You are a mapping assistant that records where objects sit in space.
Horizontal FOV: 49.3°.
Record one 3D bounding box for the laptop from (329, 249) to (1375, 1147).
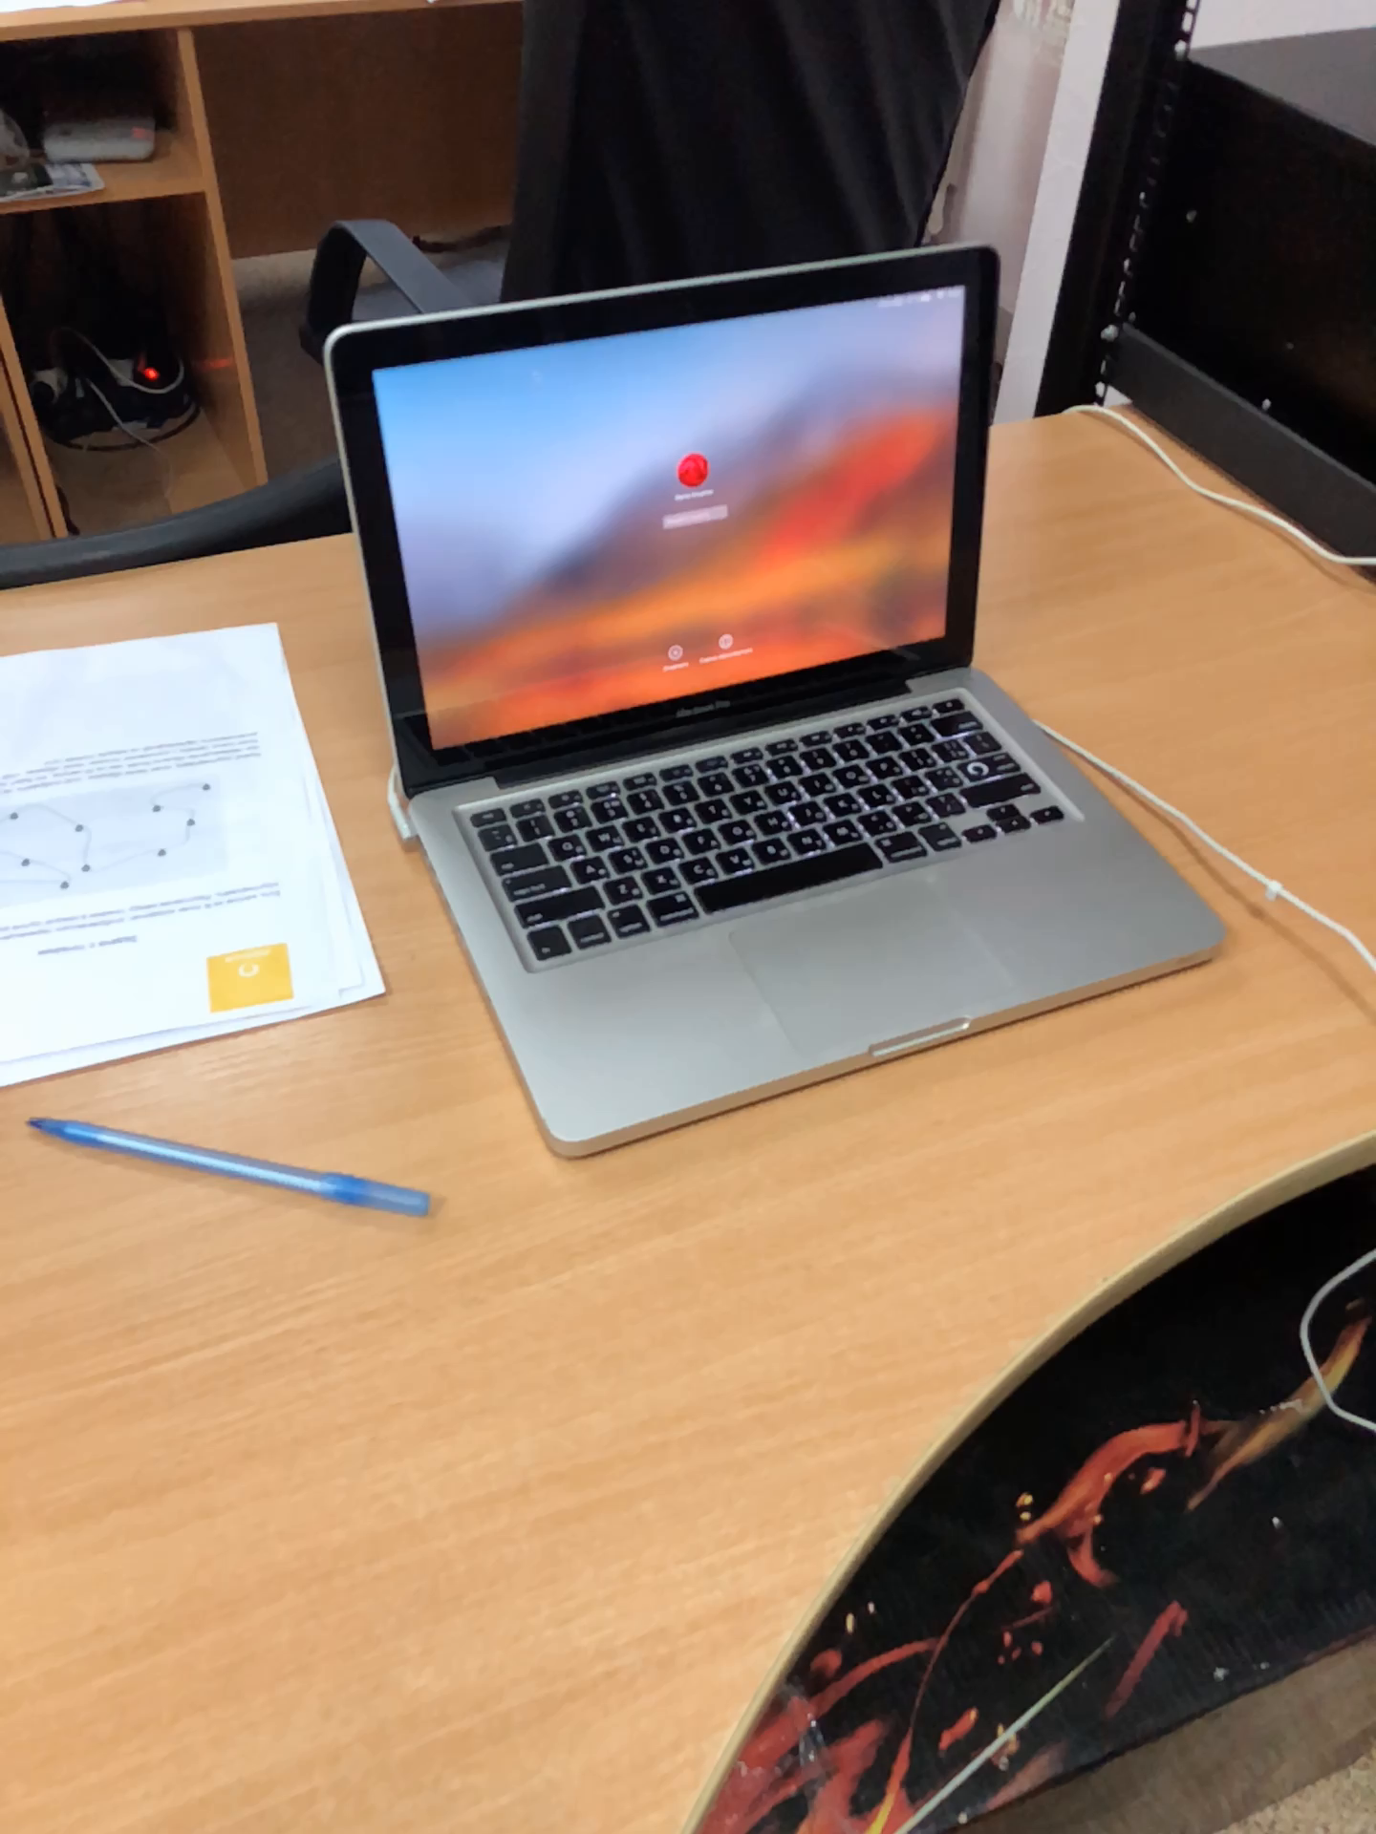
[{"bbox_3d":[0.047,-0.114,0.642,0.316,0.207,0.266,-16,47,-19],"label":"laptop"}]
